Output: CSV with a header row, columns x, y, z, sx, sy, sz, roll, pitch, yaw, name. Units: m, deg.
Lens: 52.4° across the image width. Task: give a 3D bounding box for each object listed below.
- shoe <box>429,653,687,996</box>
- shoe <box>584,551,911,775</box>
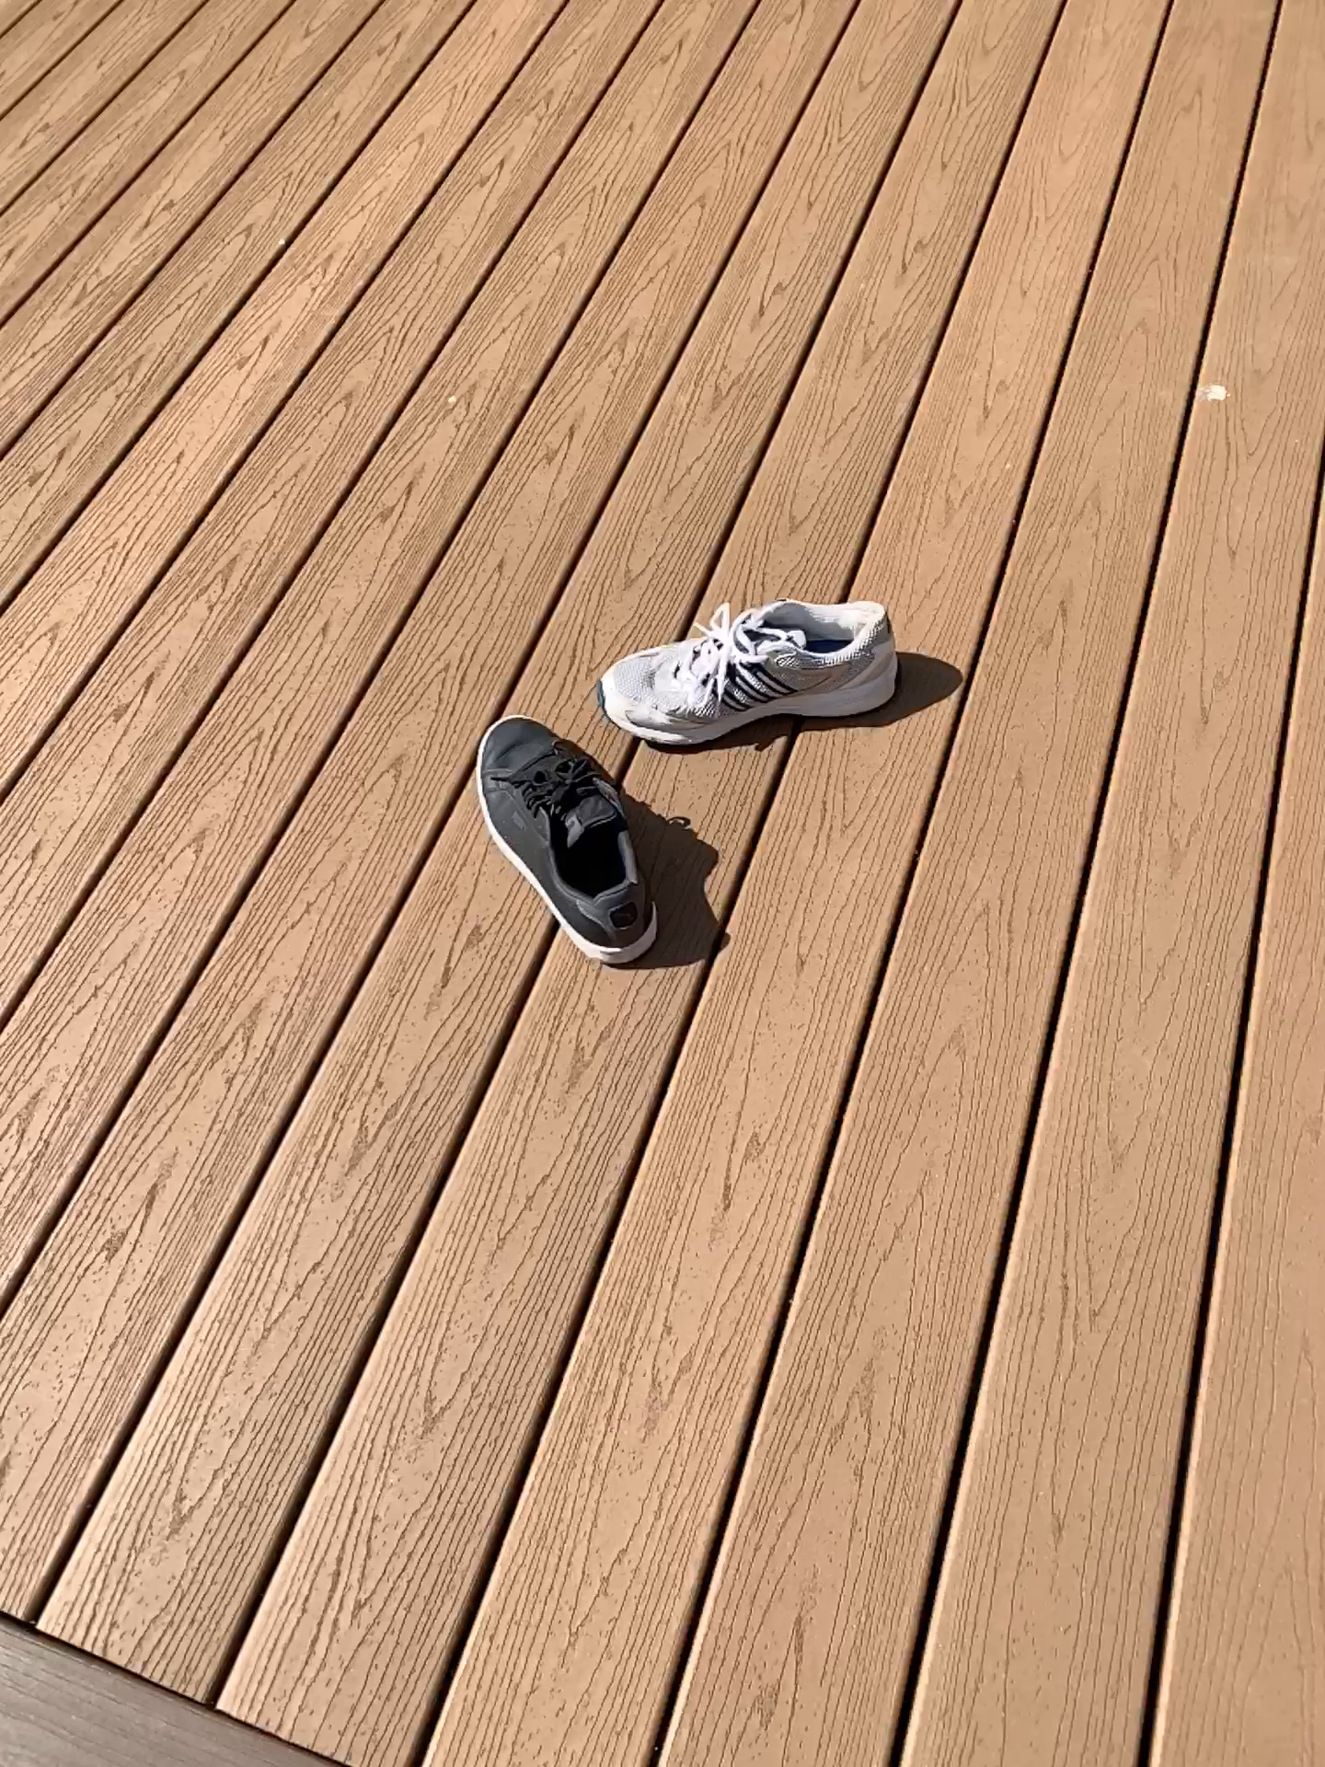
x,y,z,sx,sy,sz,roll,pitch,yaw,name
-0.089,-0.054,1.133,0.110,0.100,0.261,-25,60,-10,shoe
0.075,-0.199,1.225,0.270,0.120,0.110,-9,58,-1,shoe
